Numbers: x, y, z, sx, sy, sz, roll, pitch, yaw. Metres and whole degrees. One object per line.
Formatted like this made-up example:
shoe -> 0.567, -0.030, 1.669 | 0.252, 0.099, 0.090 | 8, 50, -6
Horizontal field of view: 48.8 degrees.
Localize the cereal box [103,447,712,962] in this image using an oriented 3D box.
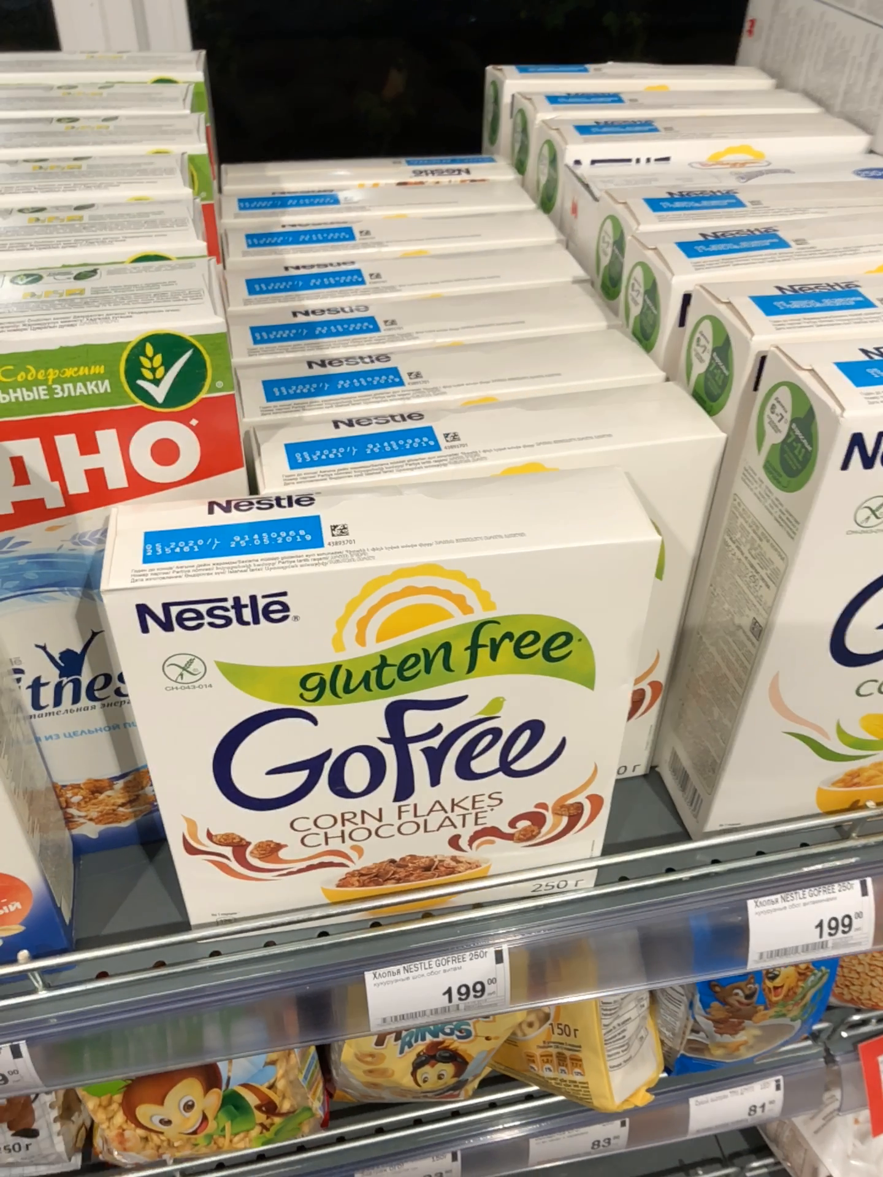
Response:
cereal box -> -0.014, 0.057, 0.409 | 0.200, 0.219, 0.060 | -5, 40, -8
